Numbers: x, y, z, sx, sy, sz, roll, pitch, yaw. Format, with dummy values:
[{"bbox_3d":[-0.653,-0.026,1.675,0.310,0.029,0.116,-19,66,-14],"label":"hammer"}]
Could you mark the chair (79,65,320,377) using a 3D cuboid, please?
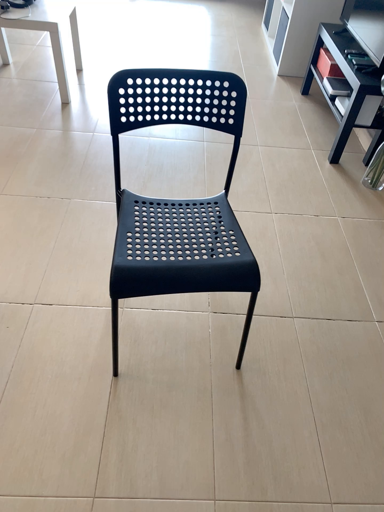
[{"bbox_3d":[-0.035,-0.067,1.086,0.420,0.686,0.492,-1,47,-8],"label":"chair"}]
